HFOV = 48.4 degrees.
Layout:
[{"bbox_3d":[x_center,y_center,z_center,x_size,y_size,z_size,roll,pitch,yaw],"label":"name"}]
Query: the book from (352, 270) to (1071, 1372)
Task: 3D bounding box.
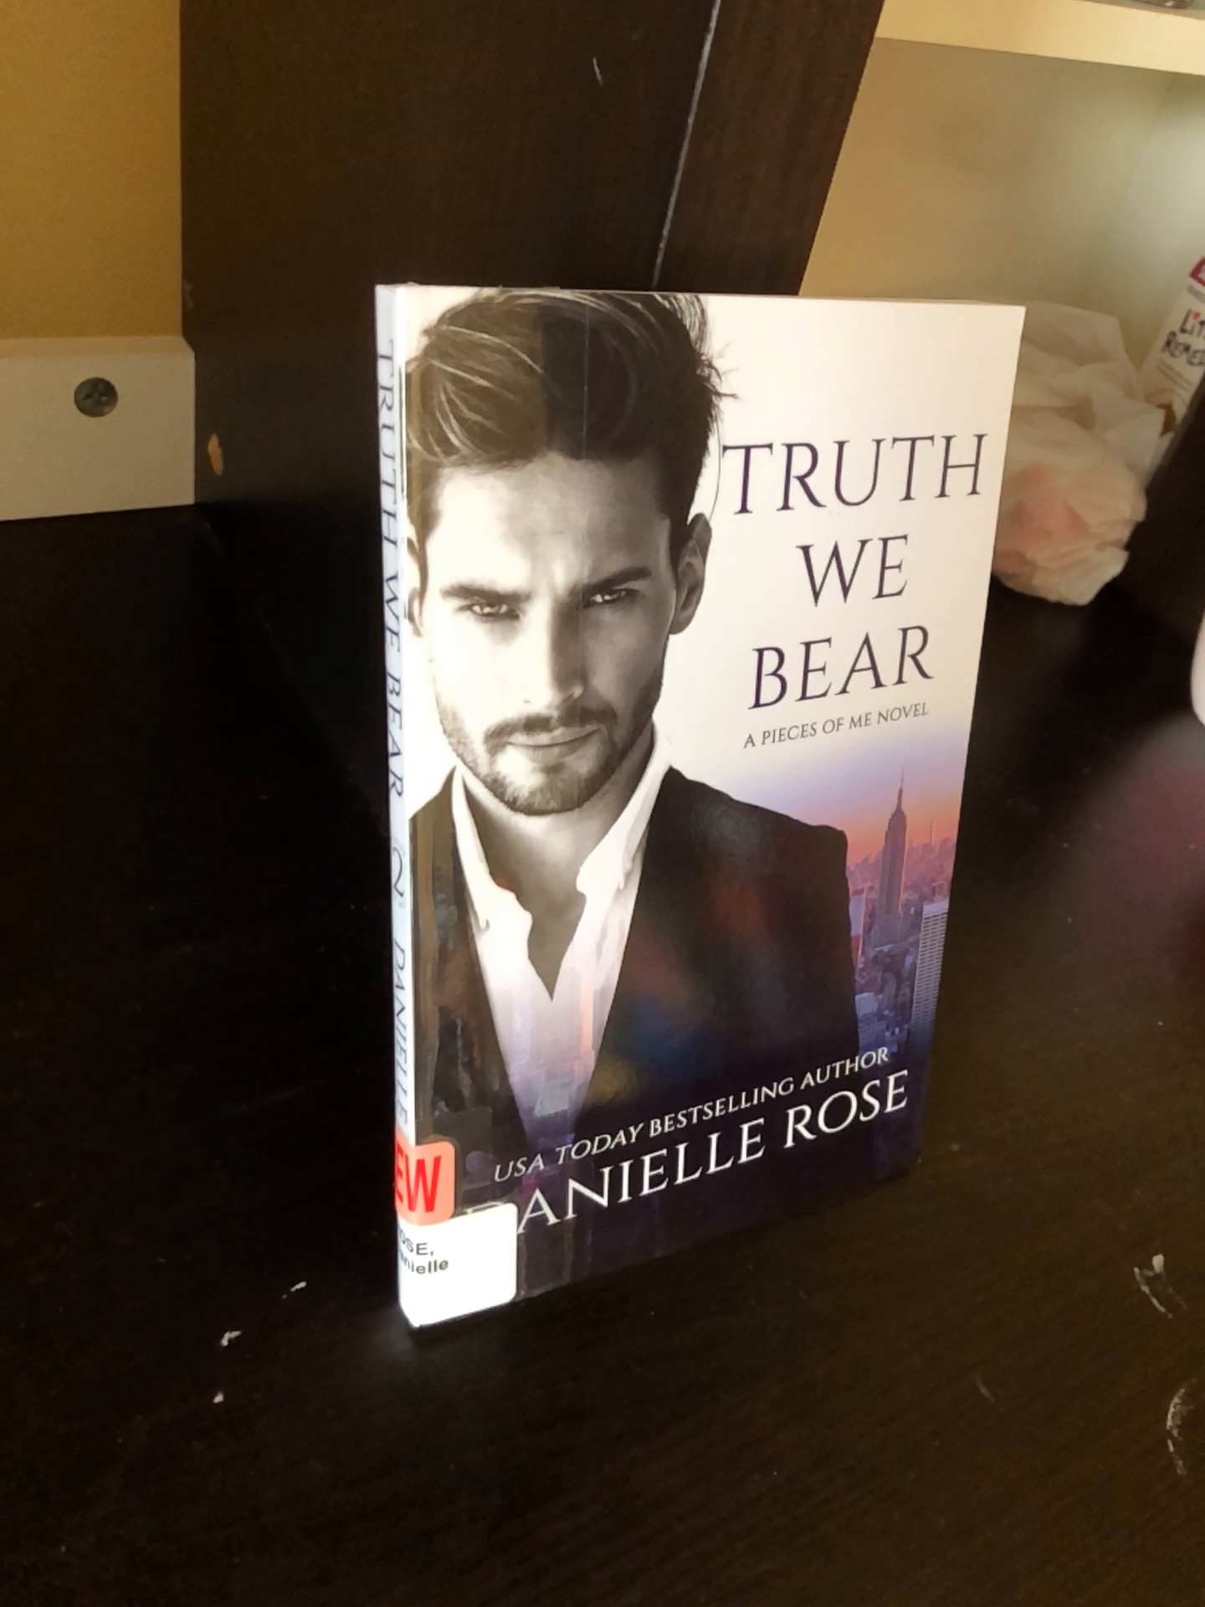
[{"bbox_3d":[0.023,0.005,0.291,0.150,0.220,0.020,-11,26,-29],"label":"book"}]
